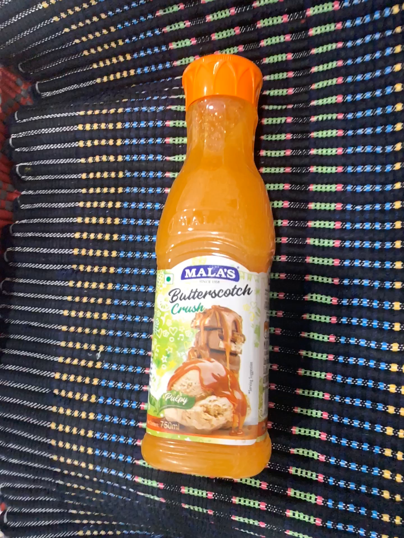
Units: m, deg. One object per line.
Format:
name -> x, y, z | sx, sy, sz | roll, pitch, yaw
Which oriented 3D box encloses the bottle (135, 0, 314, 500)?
bottle -> 0.022, -0.024, 0.229 | 0.070, 0.060, 0.250 | 1, 76, 14
